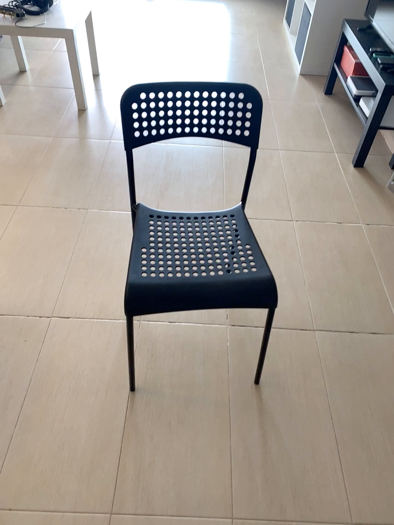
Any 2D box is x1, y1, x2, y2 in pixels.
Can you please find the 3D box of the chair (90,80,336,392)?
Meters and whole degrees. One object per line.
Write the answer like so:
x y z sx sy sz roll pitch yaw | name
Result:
-0.005 -0.043 1.095 0.420 0.686 0.492 -2 48 -5 | chair
